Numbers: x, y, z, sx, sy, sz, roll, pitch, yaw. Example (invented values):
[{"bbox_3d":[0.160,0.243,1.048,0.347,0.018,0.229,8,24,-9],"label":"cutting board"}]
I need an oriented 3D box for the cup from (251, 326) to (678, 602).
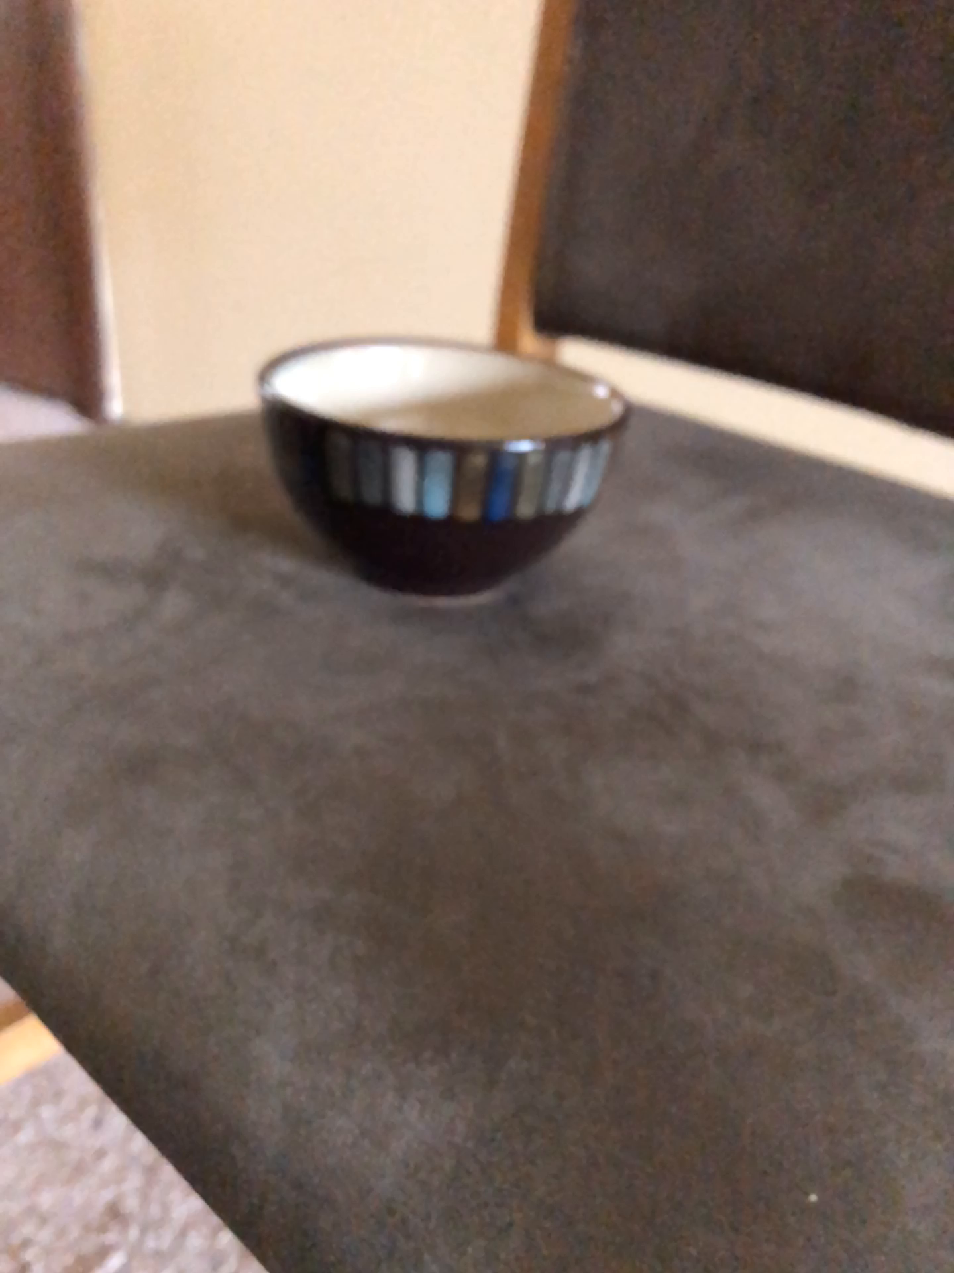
[{"bbox_3d":[-0.009,-0.057,0.335,0.108,0.044,0.115,3,29,-2],"label":"cup"}]
